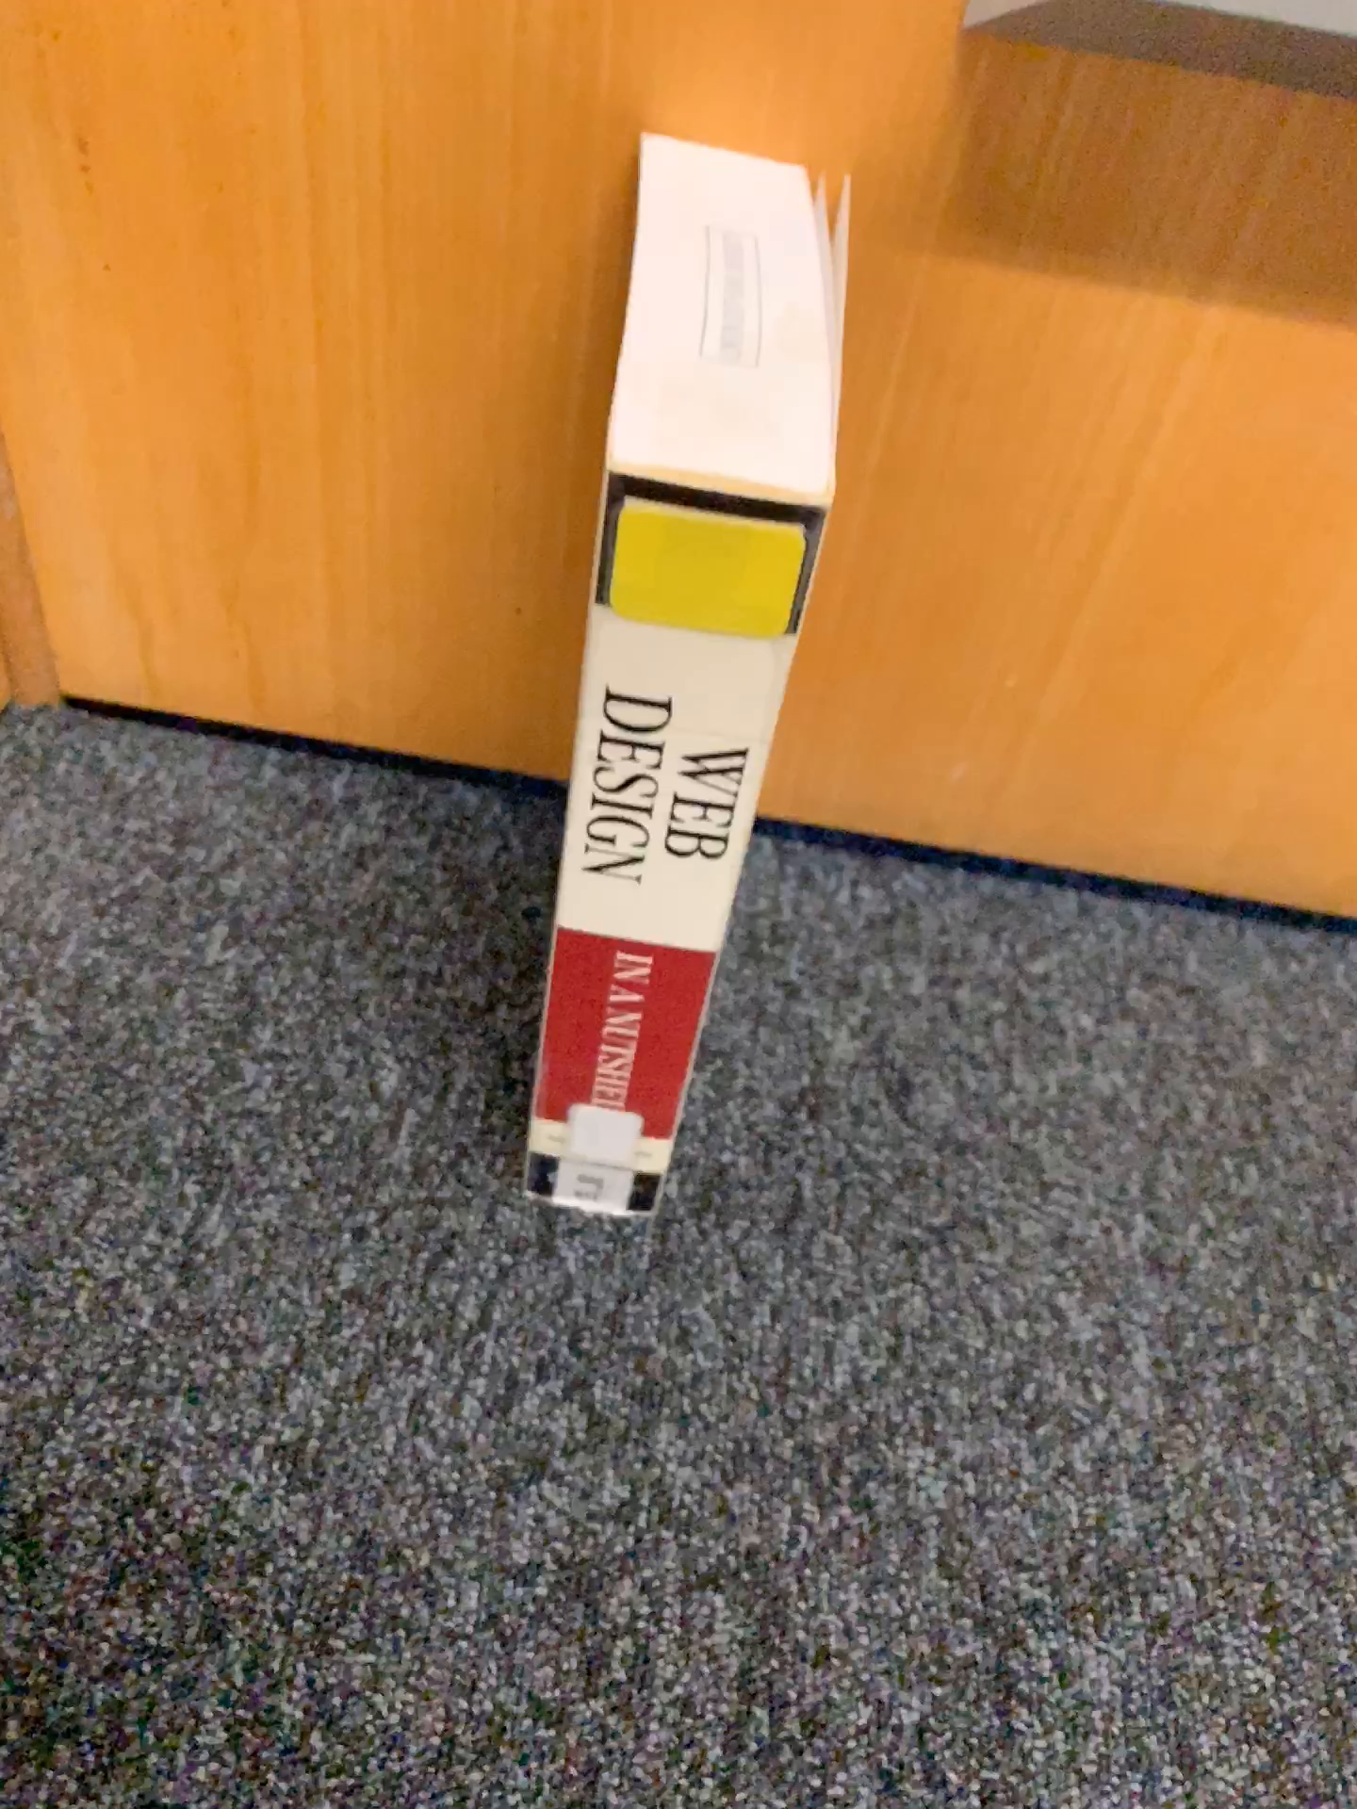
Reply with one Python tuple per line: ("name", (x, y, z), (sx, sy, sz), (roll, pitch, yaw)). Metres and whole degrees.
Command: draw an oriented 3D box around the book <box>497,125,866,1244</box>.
("book", (-0.005, -0.048, 0.370), (0.050, 0.228, 0.172), (8, 46, -3))
